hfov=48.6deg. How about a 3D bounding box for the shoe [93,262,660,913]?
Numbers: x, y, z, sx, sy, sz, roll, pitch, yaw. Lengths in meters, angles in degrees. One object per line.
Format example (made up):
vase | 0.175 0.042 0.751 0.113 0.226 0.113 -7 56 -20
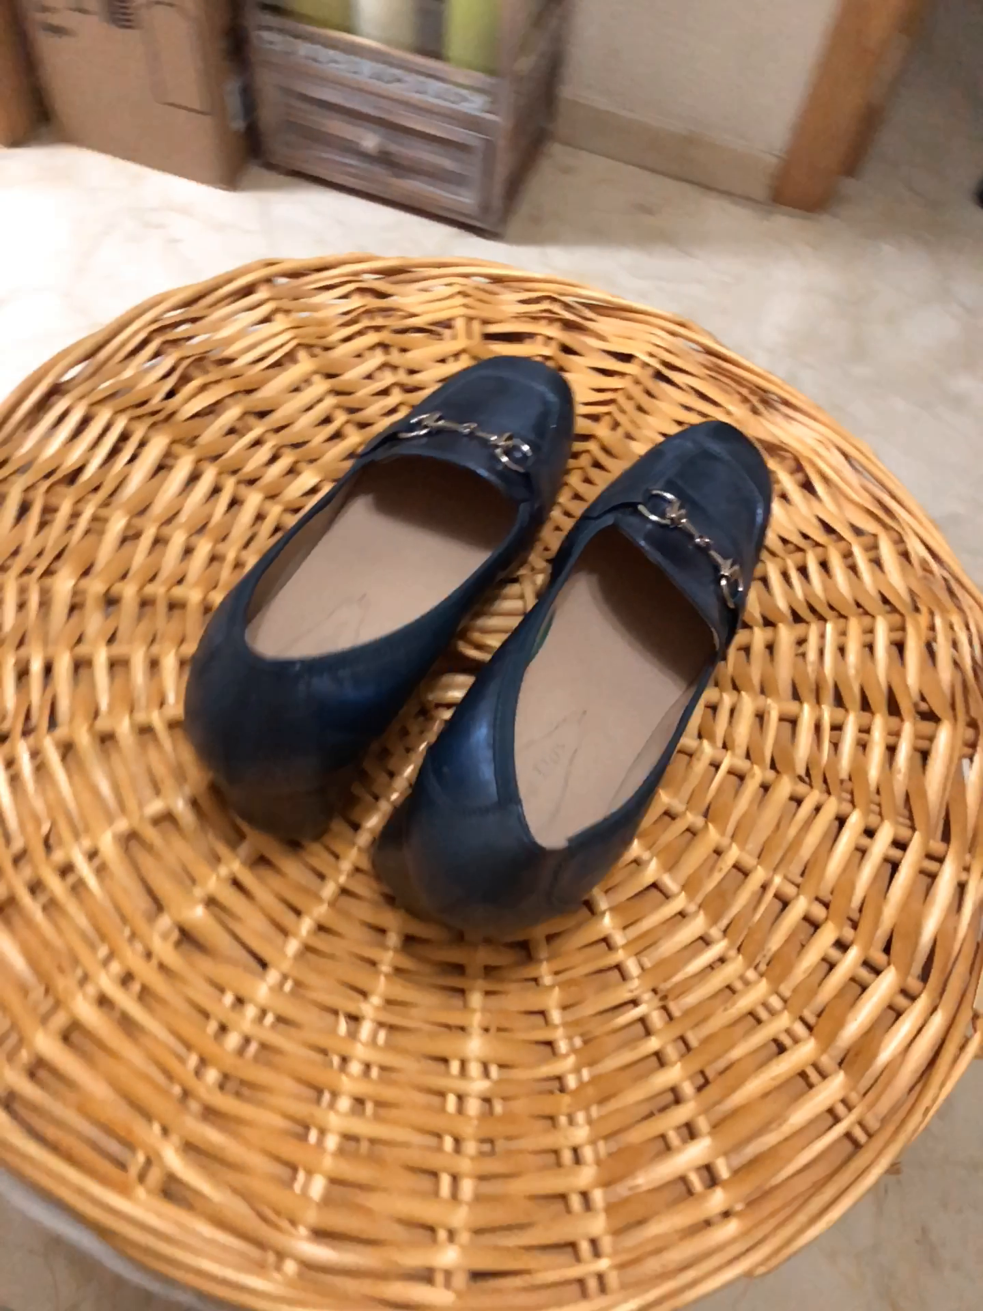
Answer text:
shoe | -0.032 -0.043 0.426 0.090 0.090 0.261 31 48 3

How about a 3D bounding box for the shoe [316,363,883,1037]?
shoe | 0.054 -0.001 0.415 0.100 0.090 0.251 34 46 5
